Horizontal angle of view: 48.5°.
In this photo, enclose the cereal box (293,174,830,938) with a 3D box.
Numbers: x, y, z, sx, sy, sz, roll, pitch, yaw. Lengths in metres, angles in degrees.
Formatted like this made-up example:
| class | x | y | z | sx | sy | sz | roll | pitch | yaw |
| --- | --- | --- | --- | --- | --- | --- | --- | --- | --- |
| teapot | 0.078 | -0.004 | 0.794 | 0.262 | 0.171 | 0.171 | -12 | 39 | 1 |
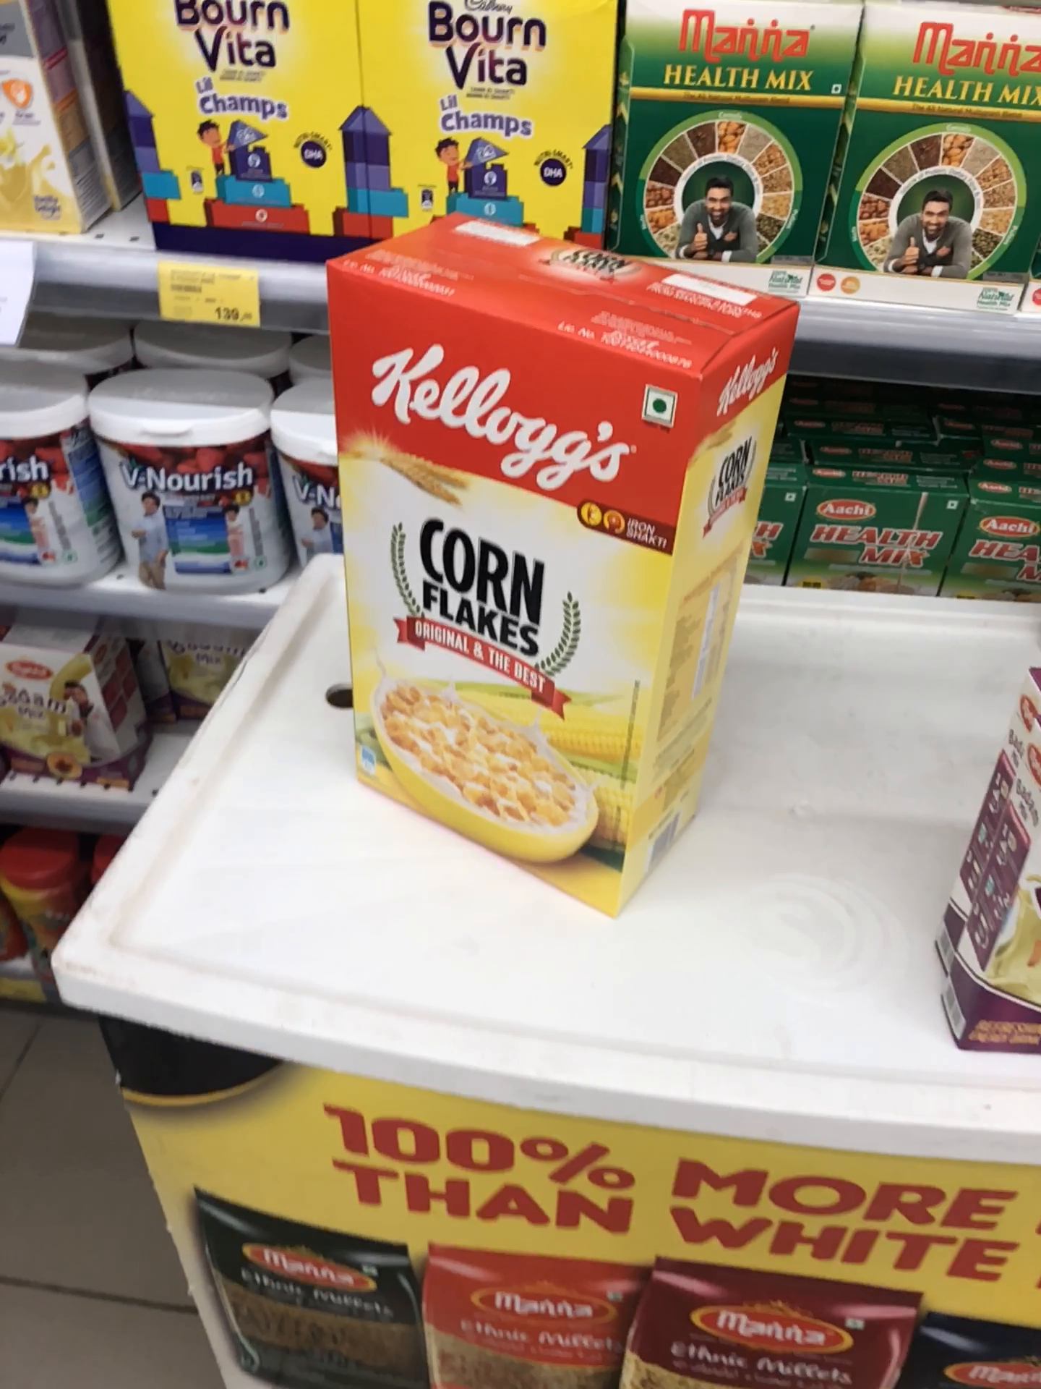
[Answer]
| class | x | y | z | sx | sy | sz | roll | pitch | yaw |
| --- | --- | --- | --- | --- | --- | --- | --- | --- | --- |
| cereal box | 0.013 | -0.062 | 0.593 | 0.200 | 0.329 | 0.110 | 25 | 45 | 26 |
